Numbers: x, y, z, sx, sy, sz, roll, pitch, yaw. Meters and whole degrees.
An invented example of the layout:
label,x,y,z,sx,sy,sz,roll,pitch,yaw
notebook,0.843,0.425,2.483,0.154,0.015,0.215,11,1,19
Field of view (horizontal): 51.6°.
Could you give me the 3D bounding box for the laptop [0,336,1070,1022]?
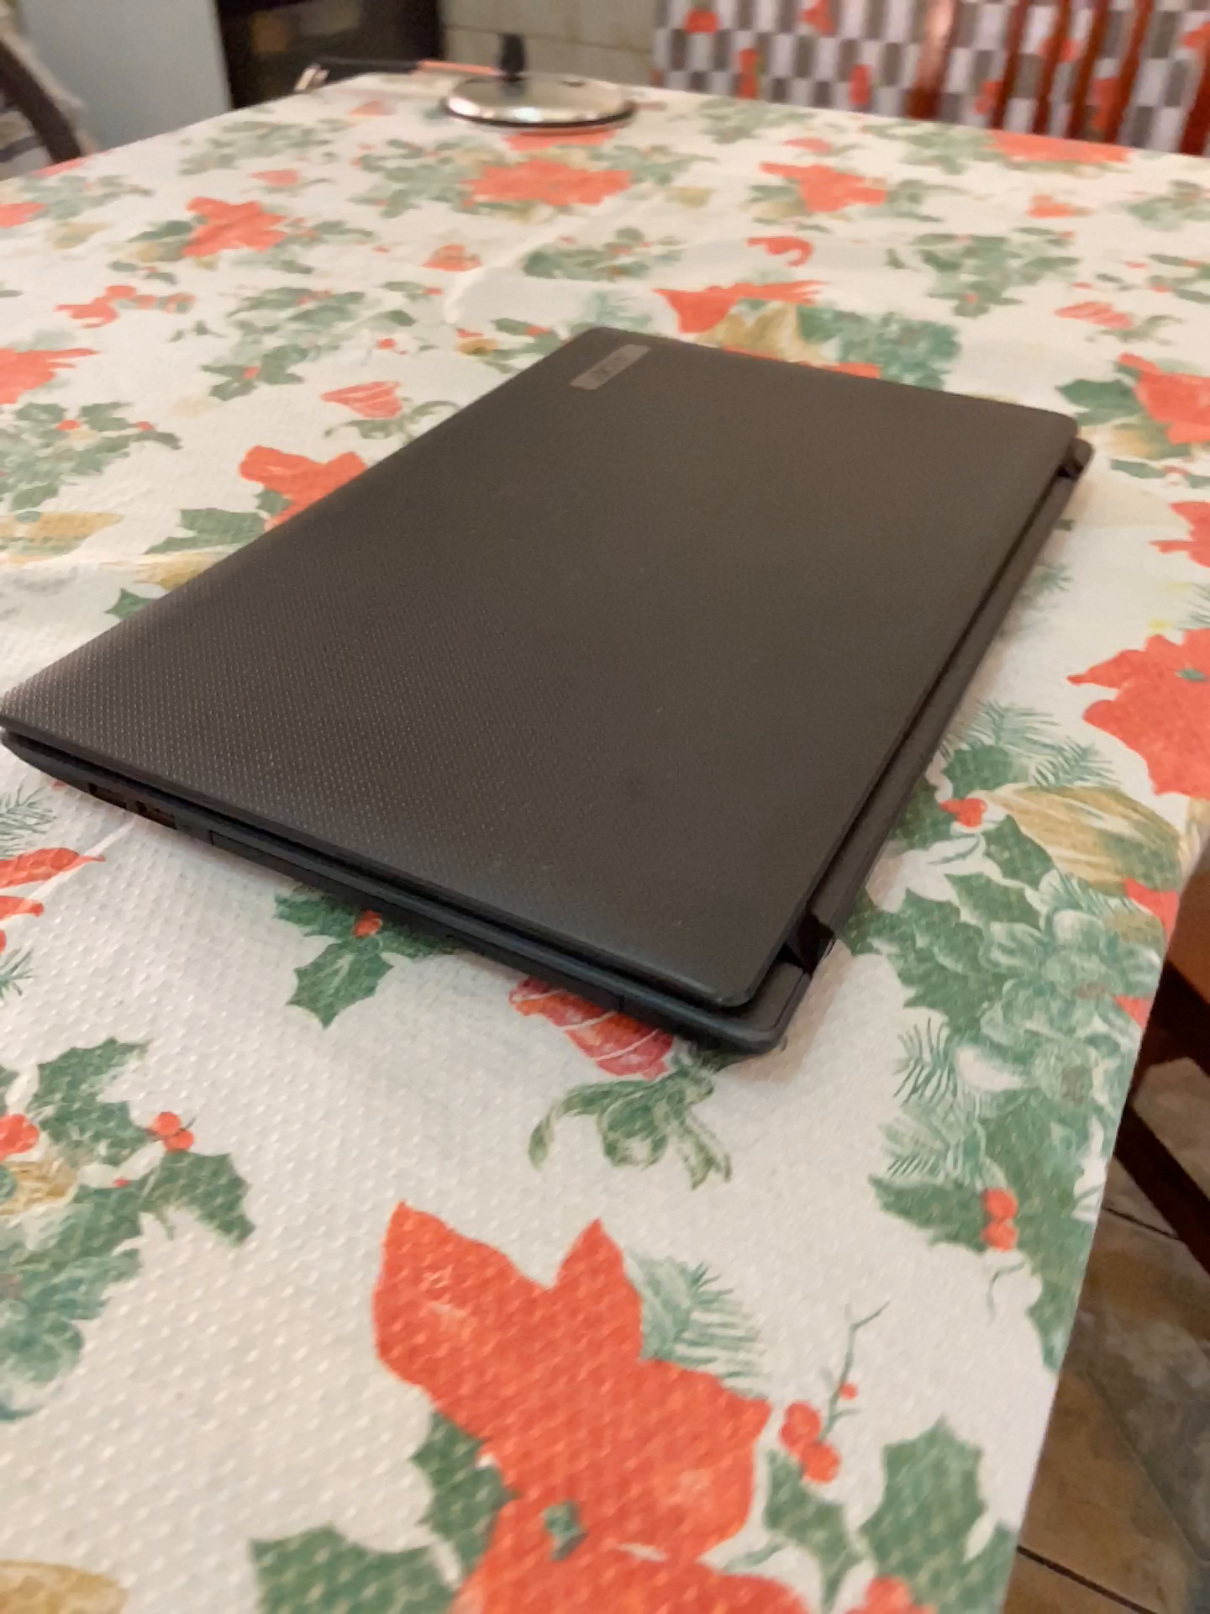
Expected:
label,x,y,z,sx,sy,sz,roll,pitch,yaw
laptop,0.005,-0.087,0.419,0.223,0.001,0.352,20,42,20
